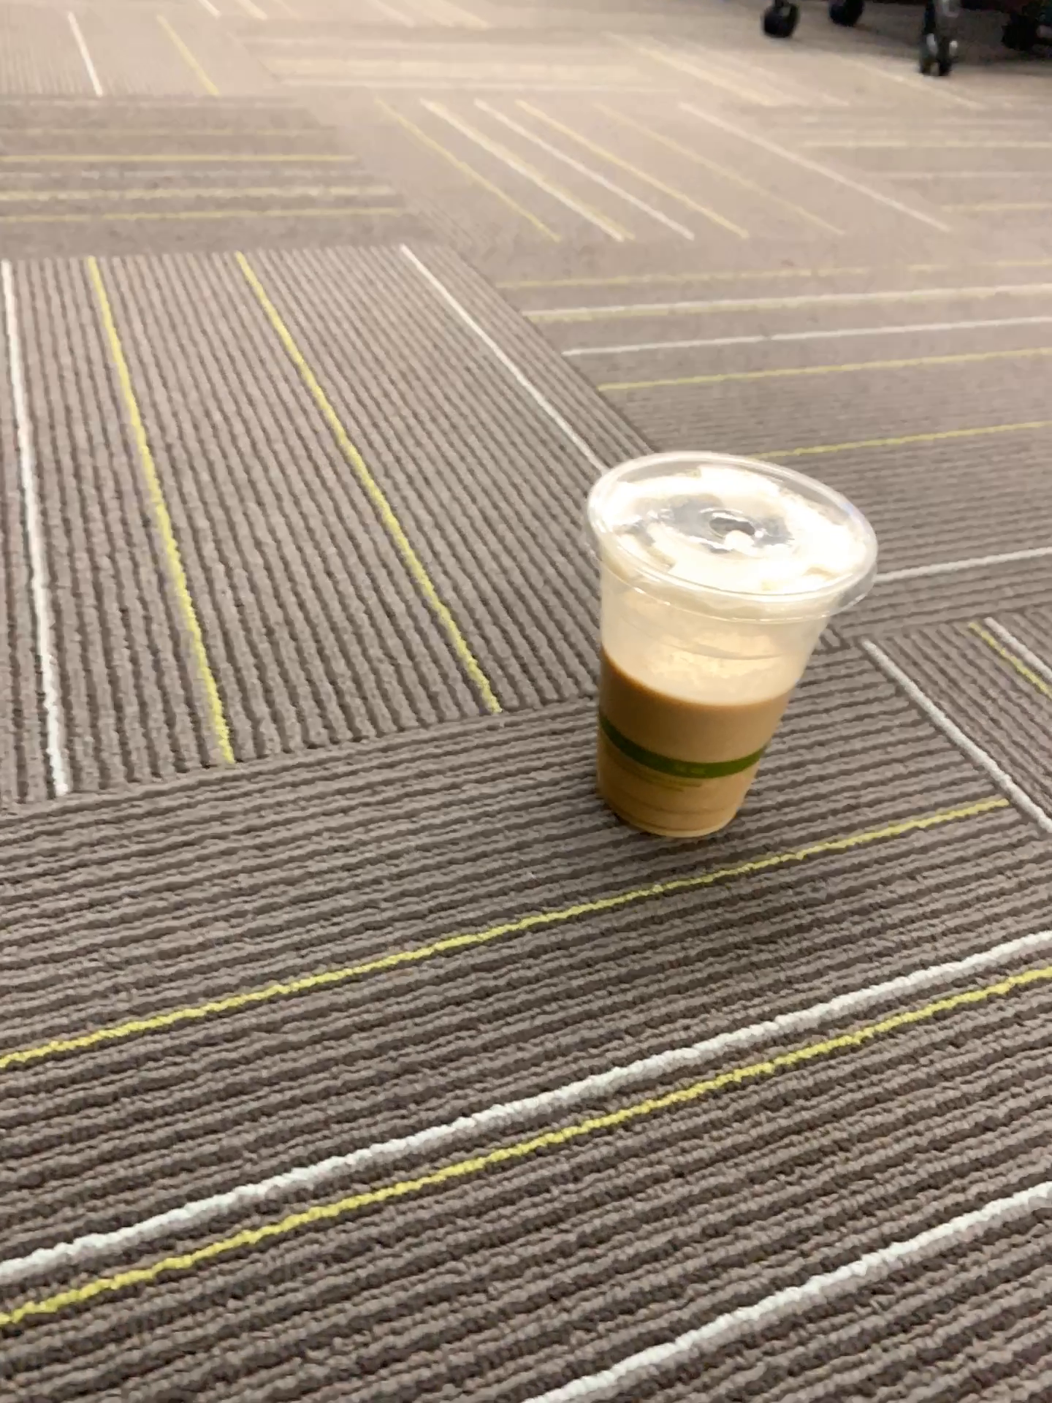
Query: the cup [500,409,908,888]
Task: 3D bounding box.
[{"bbox_3d":[0.061,-0.022,0.389,0.100,0.109,0.100,4,39,-3],"label":"cup"}]
